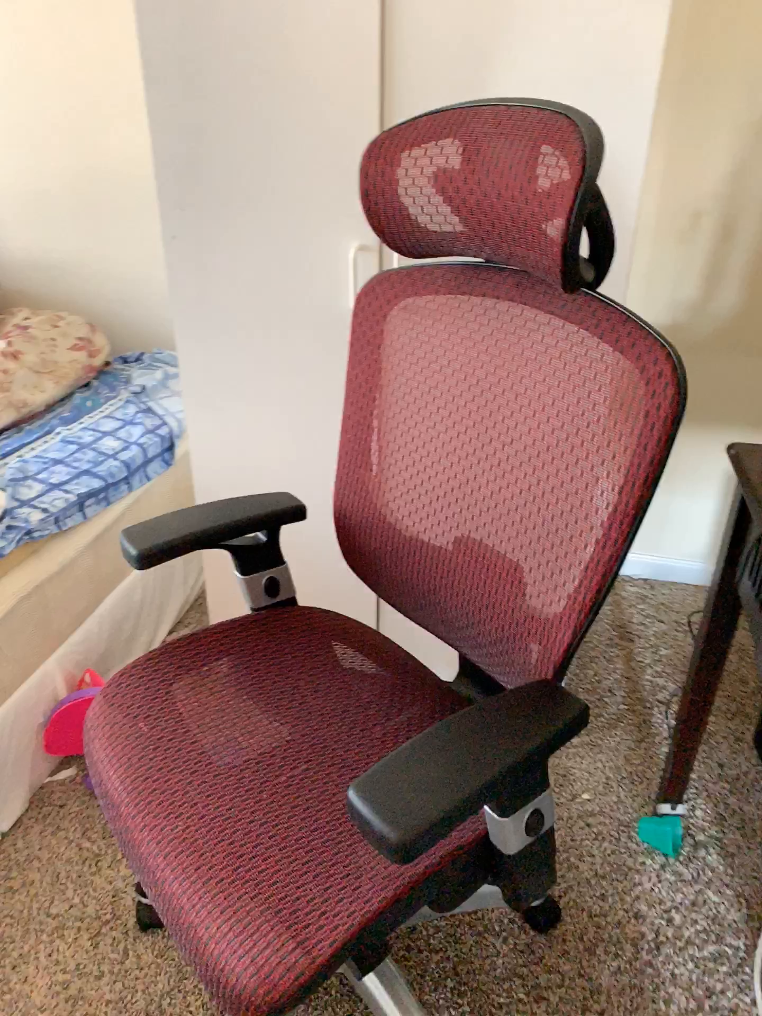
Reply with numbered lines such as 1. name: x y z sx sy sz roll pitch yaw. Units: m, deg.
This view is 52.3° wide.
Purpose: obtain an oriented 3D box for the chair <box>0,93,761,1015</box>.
1. chair: -0.002 0.183 0.893 0.811 1.155 0.732 -18 32 -29
